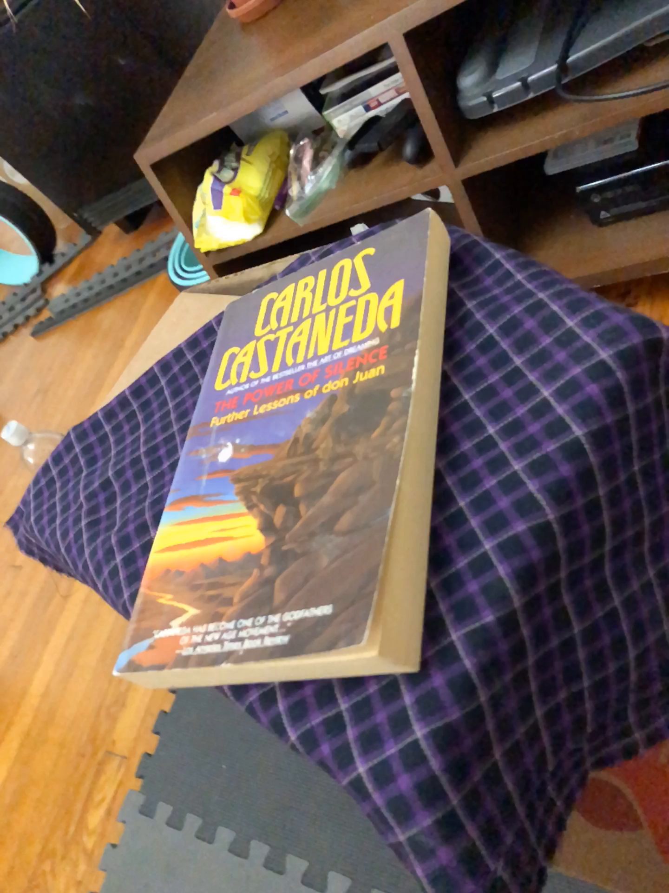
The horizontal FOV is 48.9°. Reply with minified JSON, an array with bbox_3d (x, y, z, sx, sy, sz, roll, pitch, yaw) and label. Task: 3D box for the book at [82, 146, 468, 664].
[{"bbox_3d":[-0.020,-0.021,0.321,0.150,0.020,0.221,-15,51,35],"label":"book"}]
